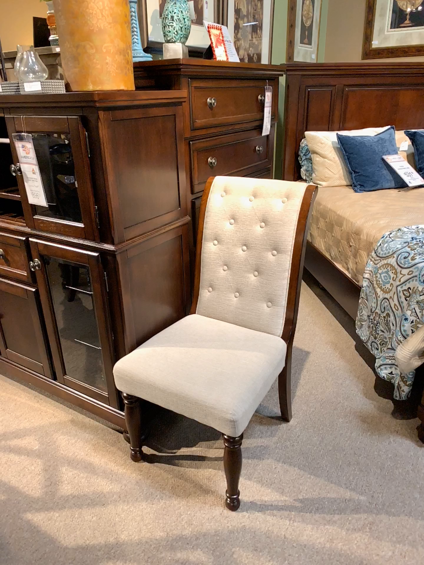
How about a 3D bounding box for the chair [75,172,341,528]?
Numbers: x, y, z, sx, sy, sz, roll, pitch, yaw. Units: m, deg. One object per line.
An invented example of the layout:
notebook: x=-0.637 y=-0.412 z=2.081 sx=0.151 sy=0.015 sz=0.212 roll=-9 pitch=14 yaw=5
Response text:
chair: x=0.038 y=0.151 z=1.593 sx=0.585 sy=0.950 sz=0.719 roll=12 pitch=26 yaw=28
